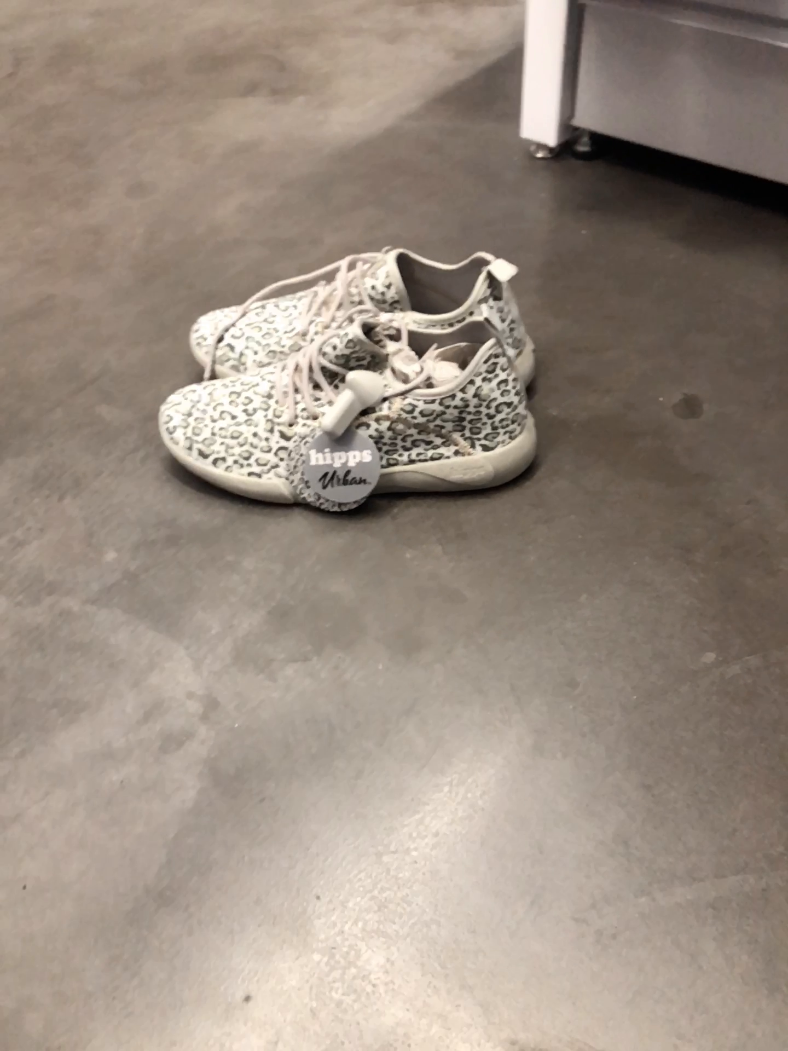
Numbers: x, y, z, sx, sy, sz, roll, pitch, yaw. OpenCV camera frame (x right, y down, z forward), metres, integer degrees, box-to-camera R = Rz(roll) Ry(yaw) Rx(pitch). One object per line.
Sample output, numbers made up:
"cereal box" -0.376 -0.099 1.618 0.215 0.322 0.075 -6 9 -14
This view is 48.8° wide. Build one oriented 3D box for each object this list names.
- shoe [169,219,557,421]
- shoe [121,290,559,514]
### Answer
"shoe" -0.016 -0.148 0.627 0.250 0.099 0.101 1 48 5
"shoe" -0.027 -0.080 0.562 0.250 0.099 0.101 1 48 5
